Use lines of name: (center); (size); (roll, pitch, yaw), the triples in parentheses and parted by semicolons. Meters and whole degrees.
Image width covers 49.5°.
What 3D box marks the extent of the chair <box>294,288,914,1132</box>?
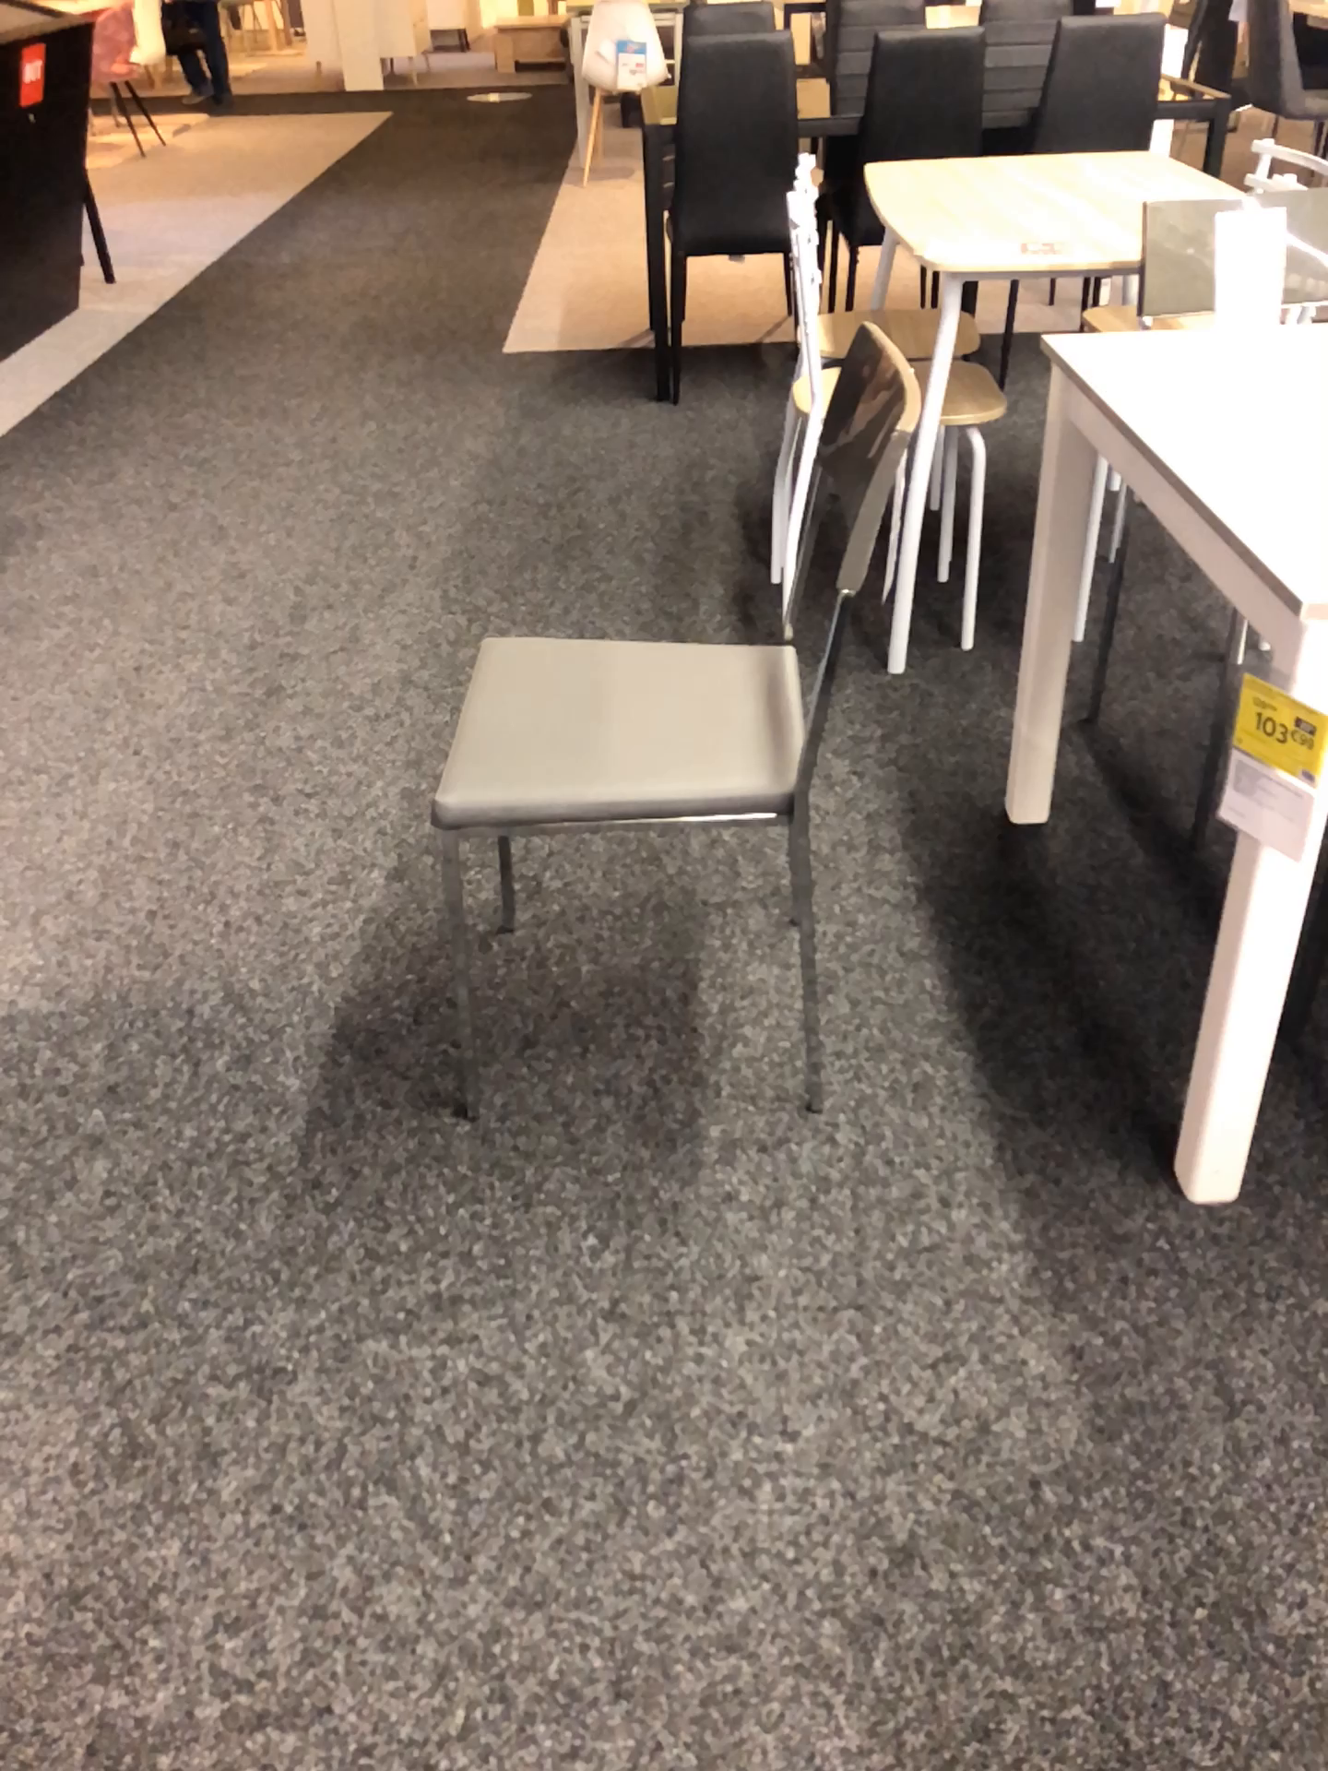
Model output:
chair: (-0.031, -0.196, 1.714); (0.550, 0.855, 0.493); (-1, 34, 3)
